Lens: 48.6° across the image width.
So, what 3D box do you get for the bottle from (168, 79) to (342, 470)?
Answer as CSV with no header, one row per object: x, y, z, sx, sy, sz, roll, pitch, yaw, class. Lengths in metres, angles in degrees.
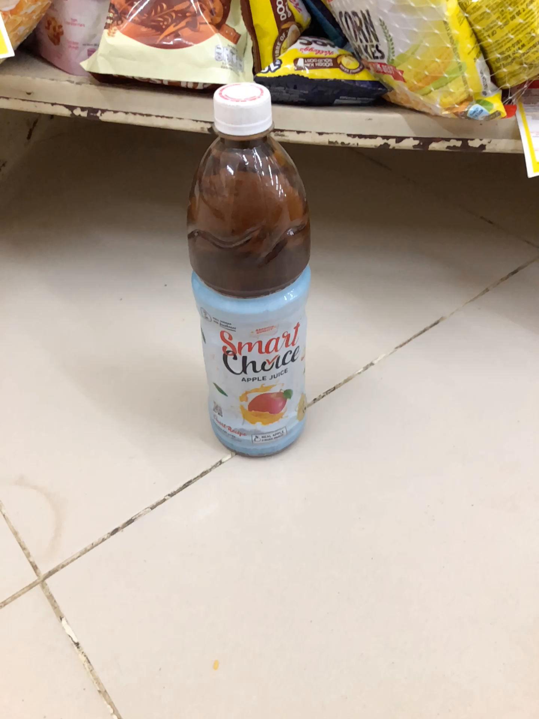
-0.008,-0.037,0.391,0.080,0.248,0.080,-1,45,1,bottle
